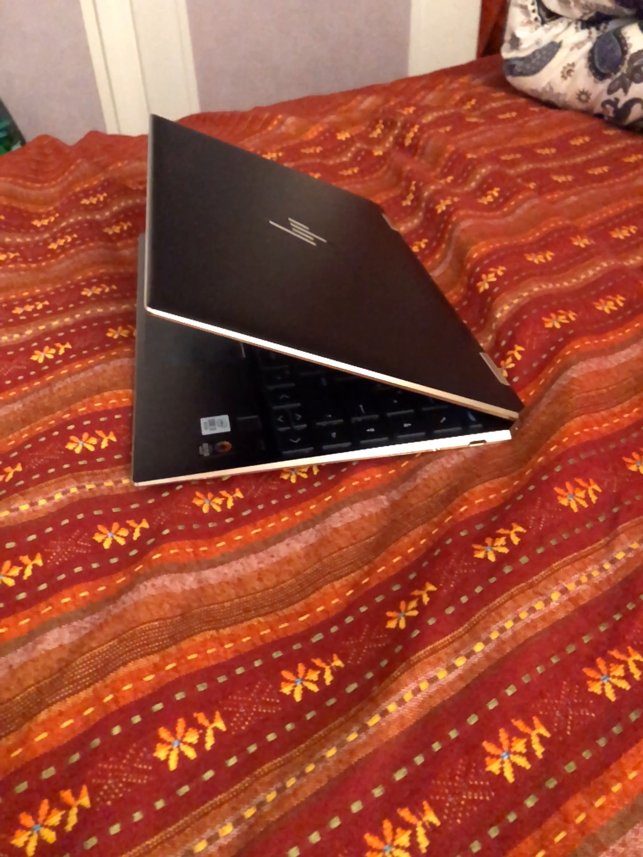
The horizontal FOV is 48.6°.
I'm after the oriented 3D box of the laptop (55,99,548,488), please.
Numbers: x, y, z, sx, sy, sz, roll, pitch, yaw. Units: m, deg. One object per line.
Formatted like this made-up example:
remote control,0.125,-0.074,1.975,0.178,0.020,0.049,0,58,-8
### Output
laptop,-0.021,-0.121,0.446,0.202,0.101,0.327,-5,35,-10
